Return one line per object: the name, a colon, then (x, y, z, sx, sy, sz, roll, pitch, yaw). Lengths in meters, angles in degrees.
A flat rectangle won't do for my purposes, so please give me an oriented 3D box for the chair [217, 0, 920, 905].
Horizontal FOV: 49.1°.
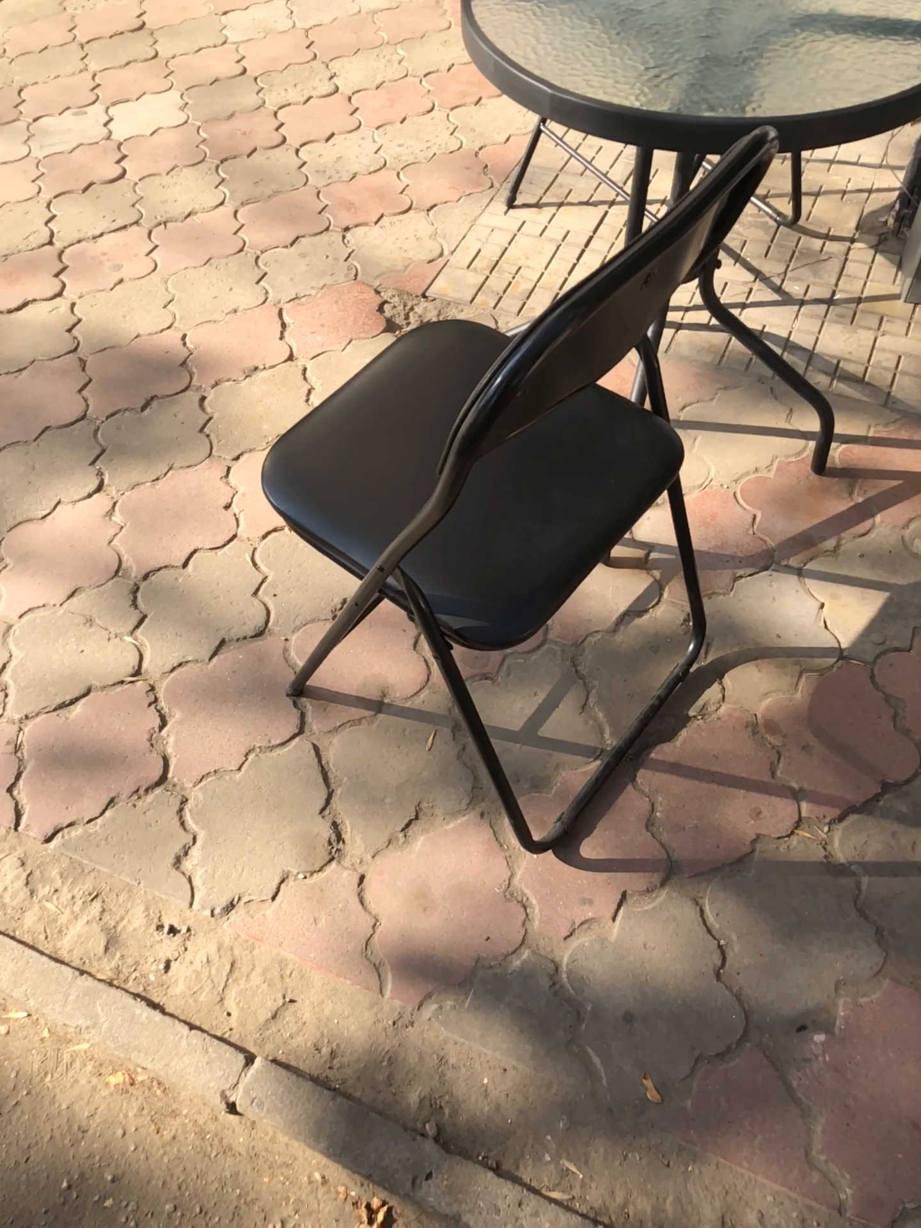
chair: (0.166, -0.194, 1.291, 0.571, 0.837, 0.581, 32, 55, 23)
